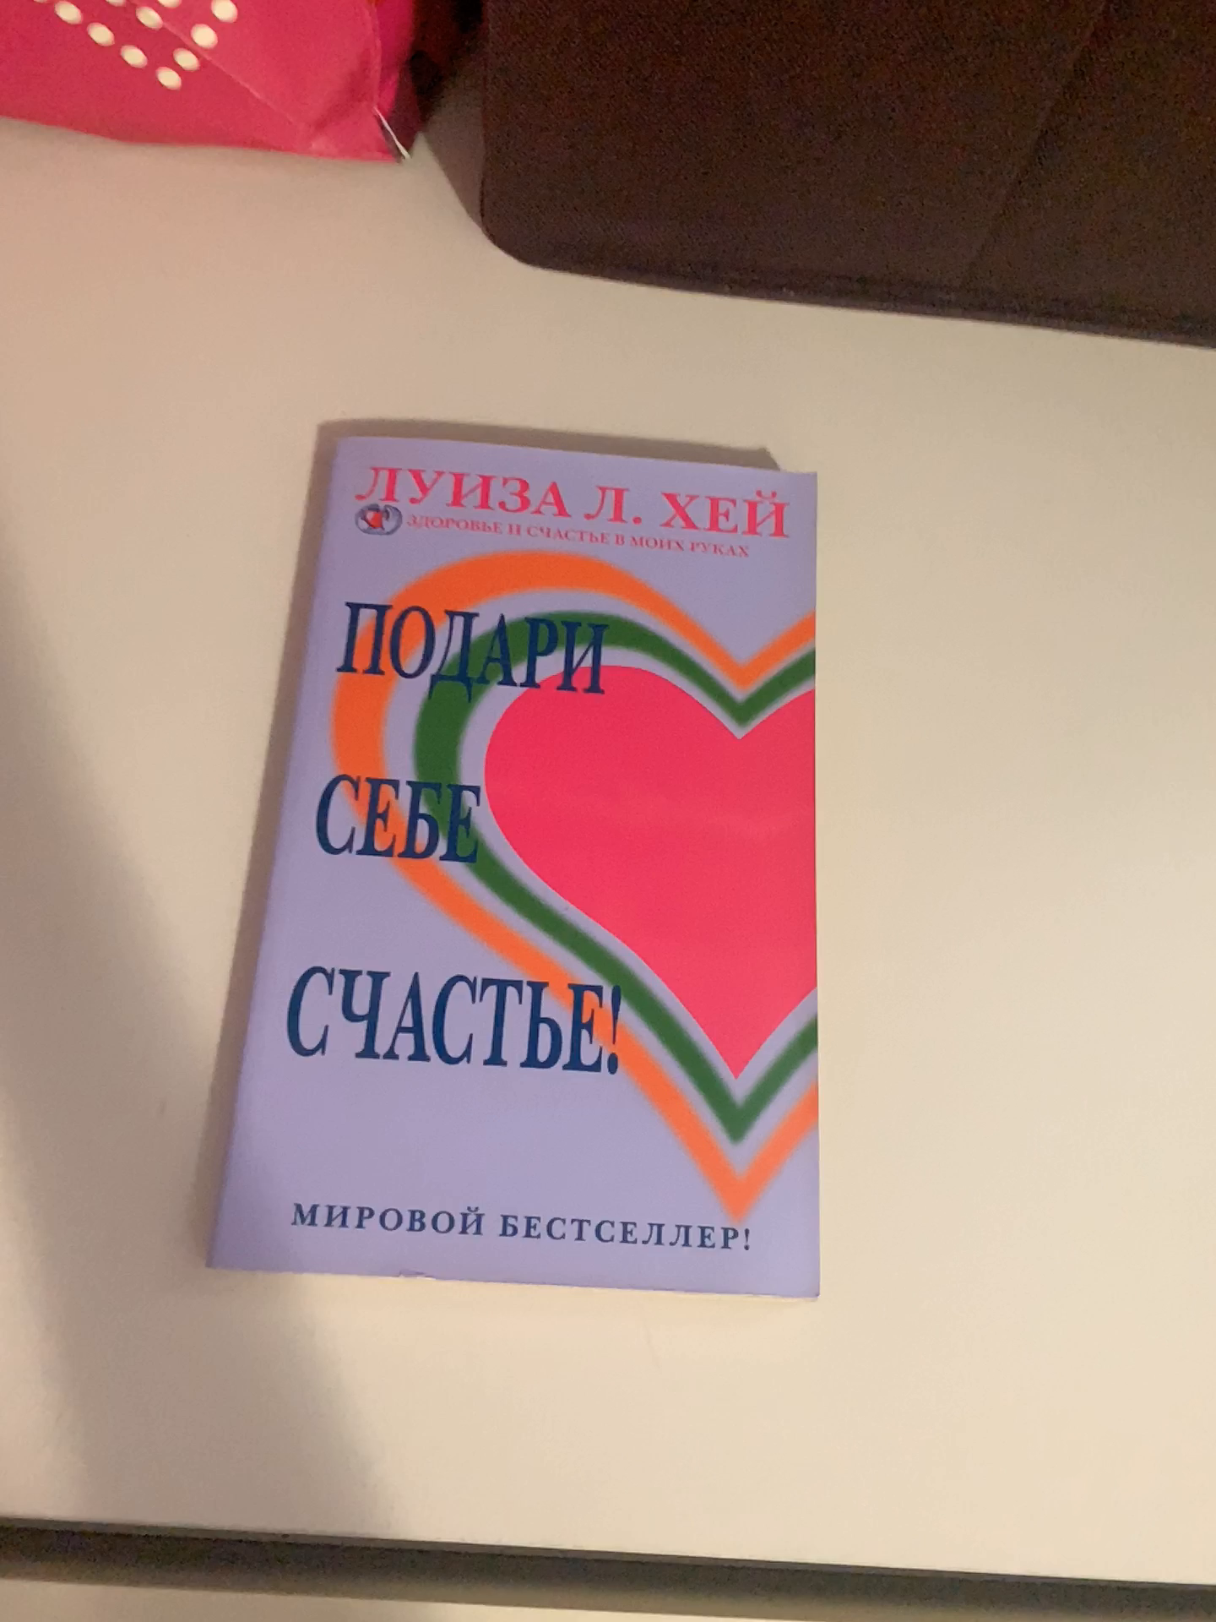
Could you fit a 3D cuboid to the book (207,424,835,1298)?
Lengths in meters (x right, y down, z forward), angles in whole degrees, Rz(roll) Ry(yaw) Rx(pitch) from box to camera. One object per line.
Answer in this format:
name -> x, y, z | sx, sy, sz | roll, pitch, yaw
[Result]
book -> -0.012, 0.004, 0.285 | 0.123, 0.016, 0.194 | 4, 70, -4
